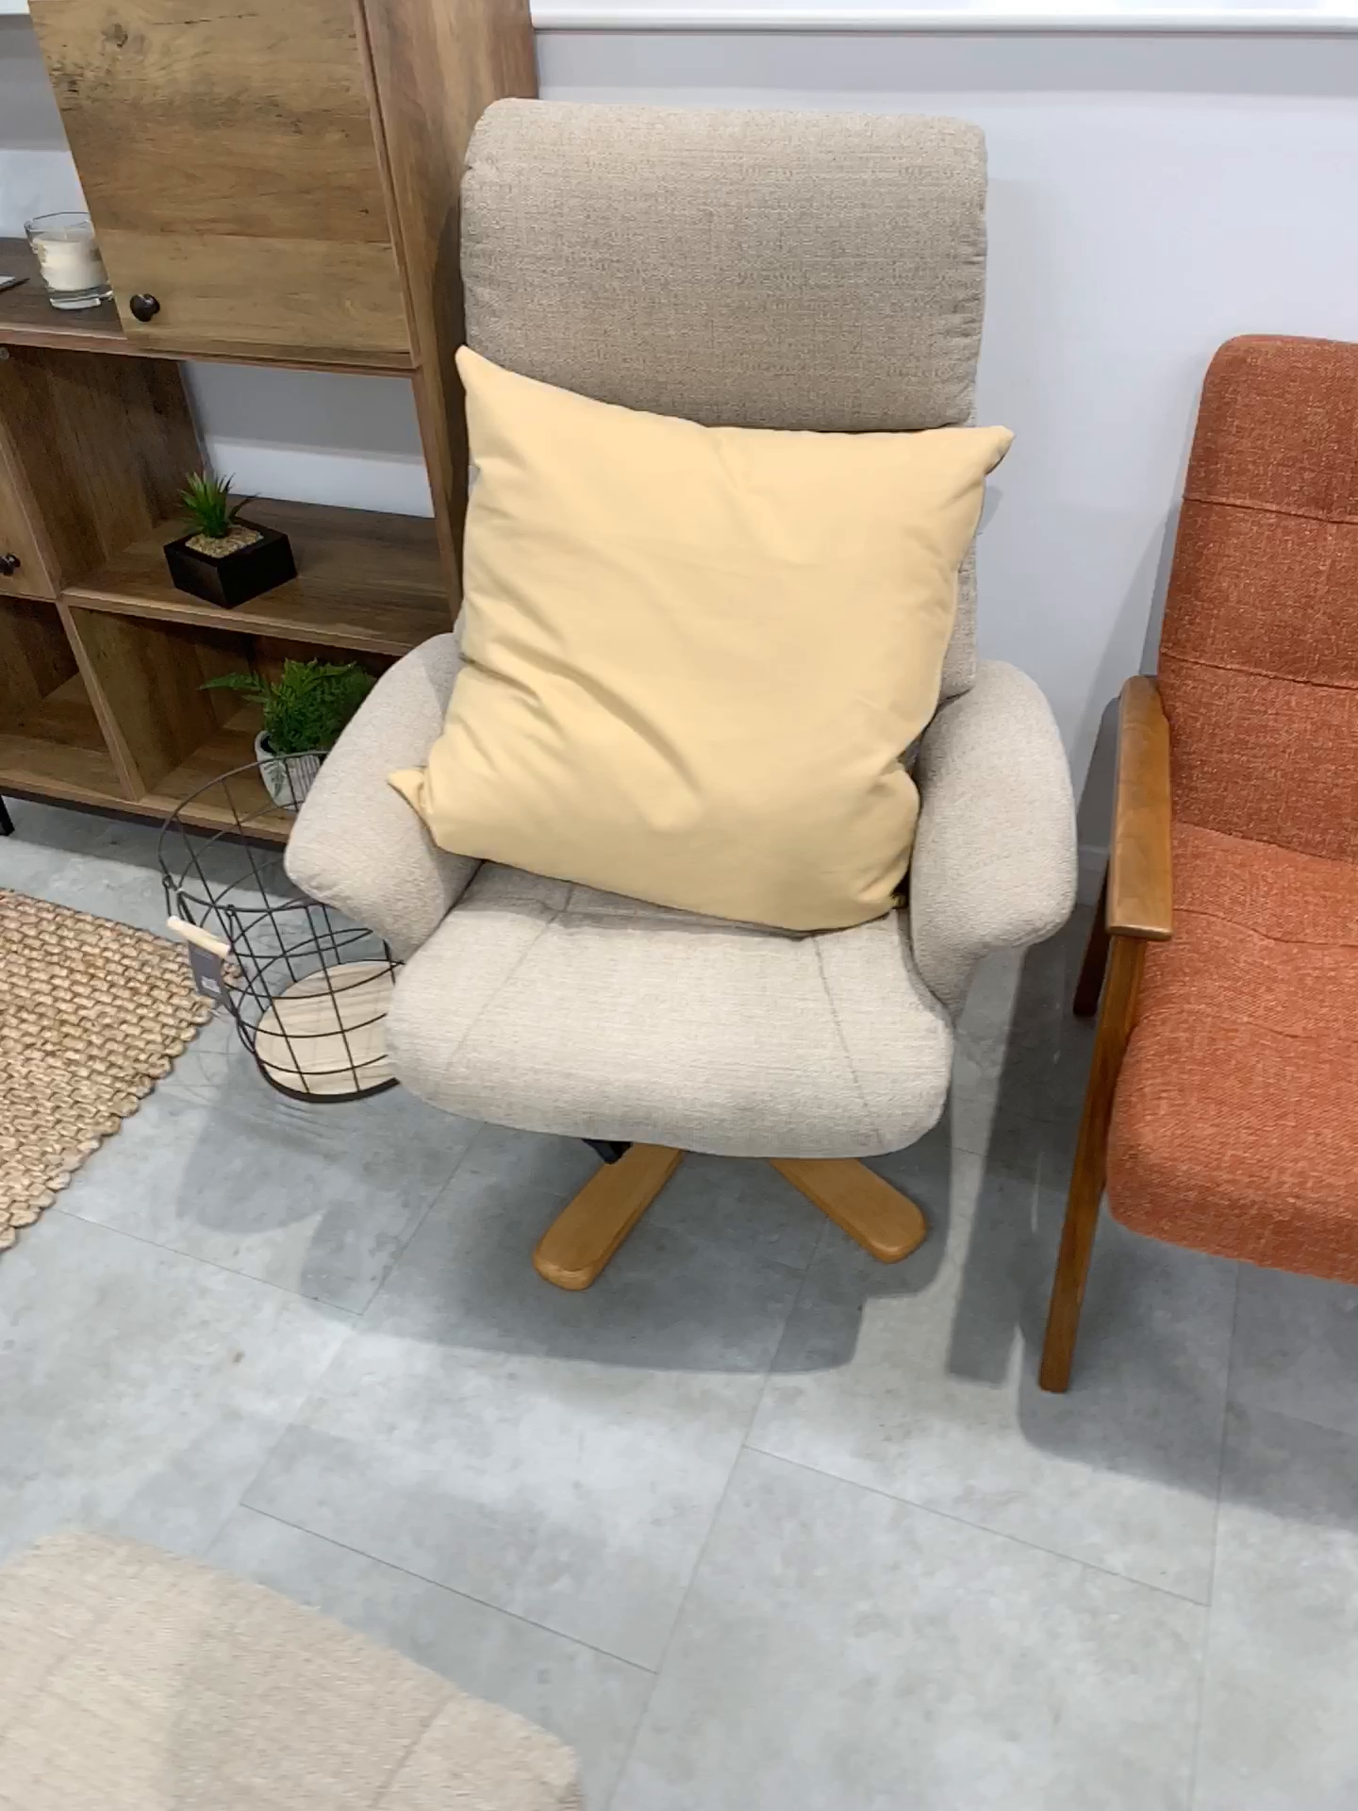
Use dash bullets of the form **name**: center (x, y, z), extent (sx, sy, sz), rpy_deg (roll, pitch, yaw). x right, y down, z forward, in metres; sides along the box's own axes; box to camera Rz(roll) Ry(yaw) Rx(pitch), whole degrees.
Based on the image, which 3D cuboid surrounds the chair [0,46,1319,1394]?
- **chair**: center (-0.008, -0.160, 1.363), extent (0.761, 1.047, 0.664), rpy_deg (8, 40, 5)

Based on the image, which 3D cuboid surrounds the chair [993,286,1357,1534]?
- **chair**: center (0.660, -0.030, 1.305), extent (0.551, 0.919, 0.623), rpy_deg (9, 34, 15)
